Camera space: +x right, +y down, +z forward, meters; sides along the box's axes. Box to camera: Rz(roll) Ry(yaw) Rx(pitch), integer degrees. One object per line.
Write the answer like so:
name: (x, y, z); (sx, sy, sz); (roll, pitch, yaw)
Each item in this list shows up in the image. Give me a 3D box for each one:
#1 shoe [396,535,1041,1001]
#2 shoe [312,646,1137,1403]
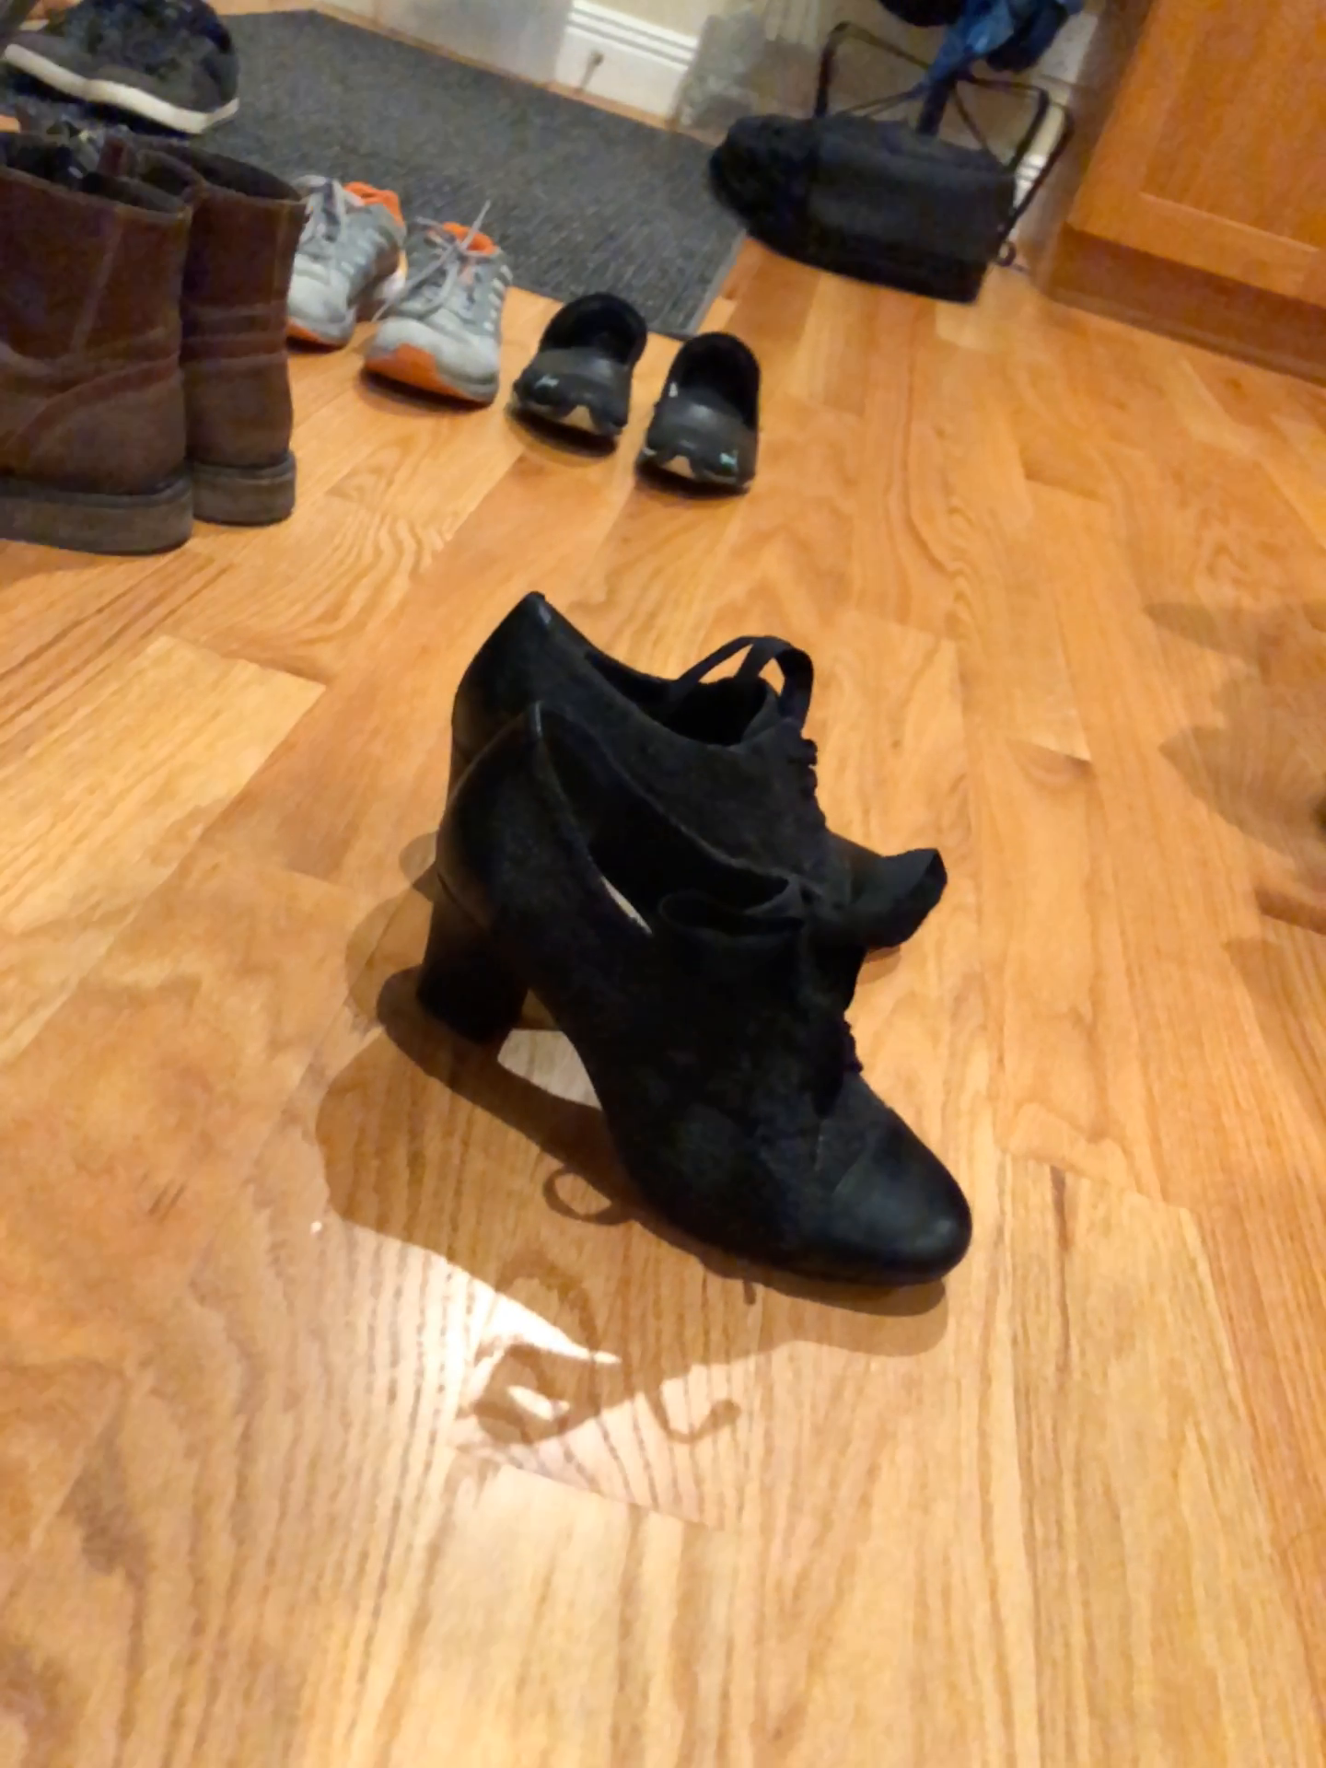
shoe: (0.015, -0.043, 0.594); (0.223, 0.125, 0.088); (9, 33, -15)
shoe: (0.013, 0.037, 0.473); (0.223, 0.125, 0.094); (28, 33, 15)
